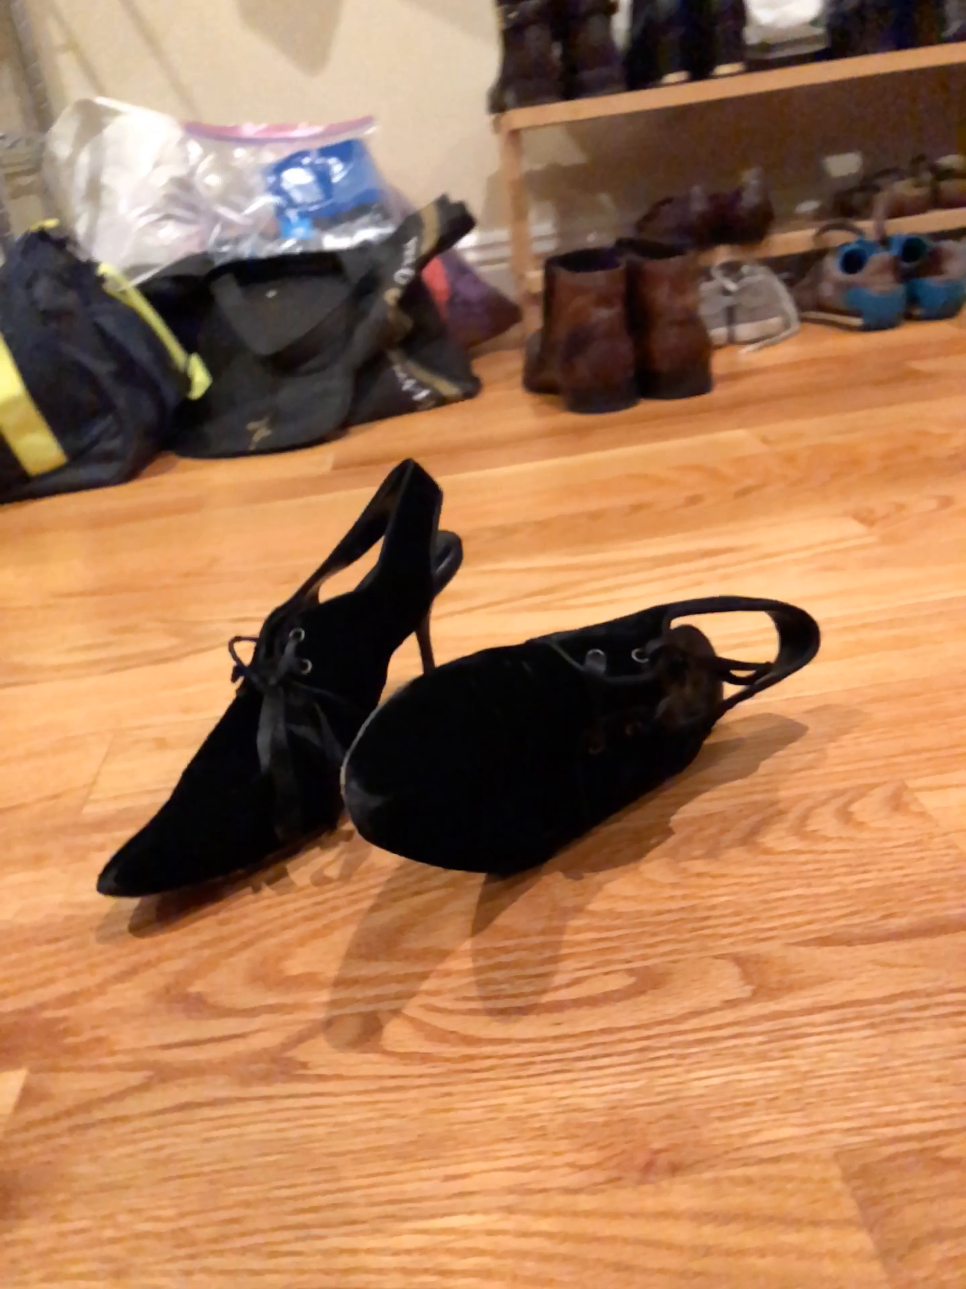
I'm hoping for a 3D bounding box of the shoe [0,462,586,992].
[{"bbox_3d":[-0.072,0.013,0.482,0.107,0.117,0.253,11,30,37],"label":"shoe"}]

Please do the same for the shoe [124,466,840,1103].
[{"bbox_3d":[0.020,0.023,0.404,0.118,0.107,0.253,13,32,42],"label":"shoe"}]
